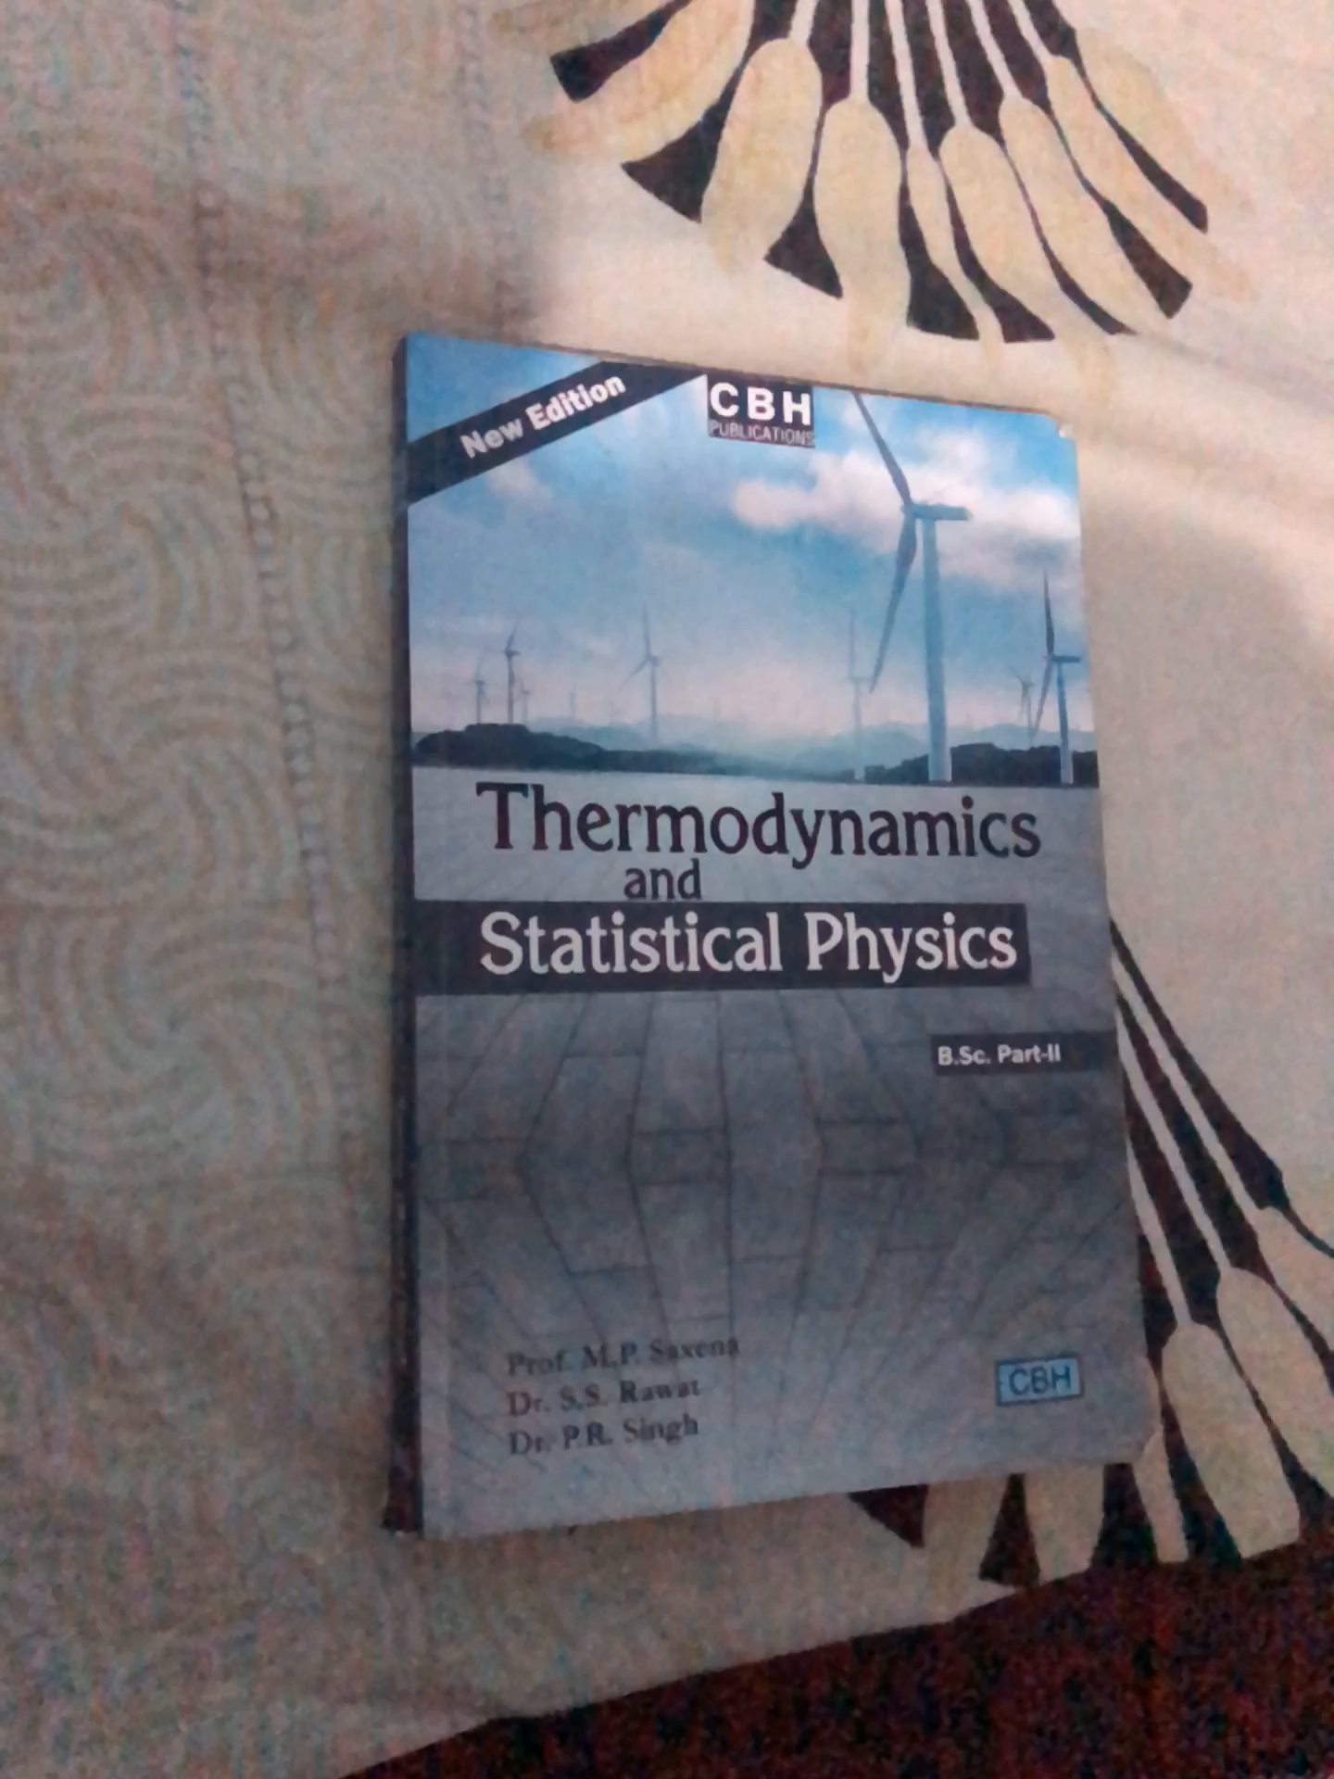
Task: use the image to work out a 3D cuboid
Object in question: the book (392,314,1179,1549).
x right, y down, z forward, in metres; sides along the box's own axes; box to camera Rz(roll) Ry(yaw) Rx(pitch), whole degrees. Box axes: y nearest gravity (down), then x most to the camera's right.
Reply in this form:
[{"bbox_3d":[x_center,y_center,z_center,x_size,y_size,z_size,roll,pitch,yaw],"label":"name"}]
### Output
[{"bbox_3d":[0.027,0.006,0.330,0.170,0.030,0.240,0,86,-18],"label":"book"}]
